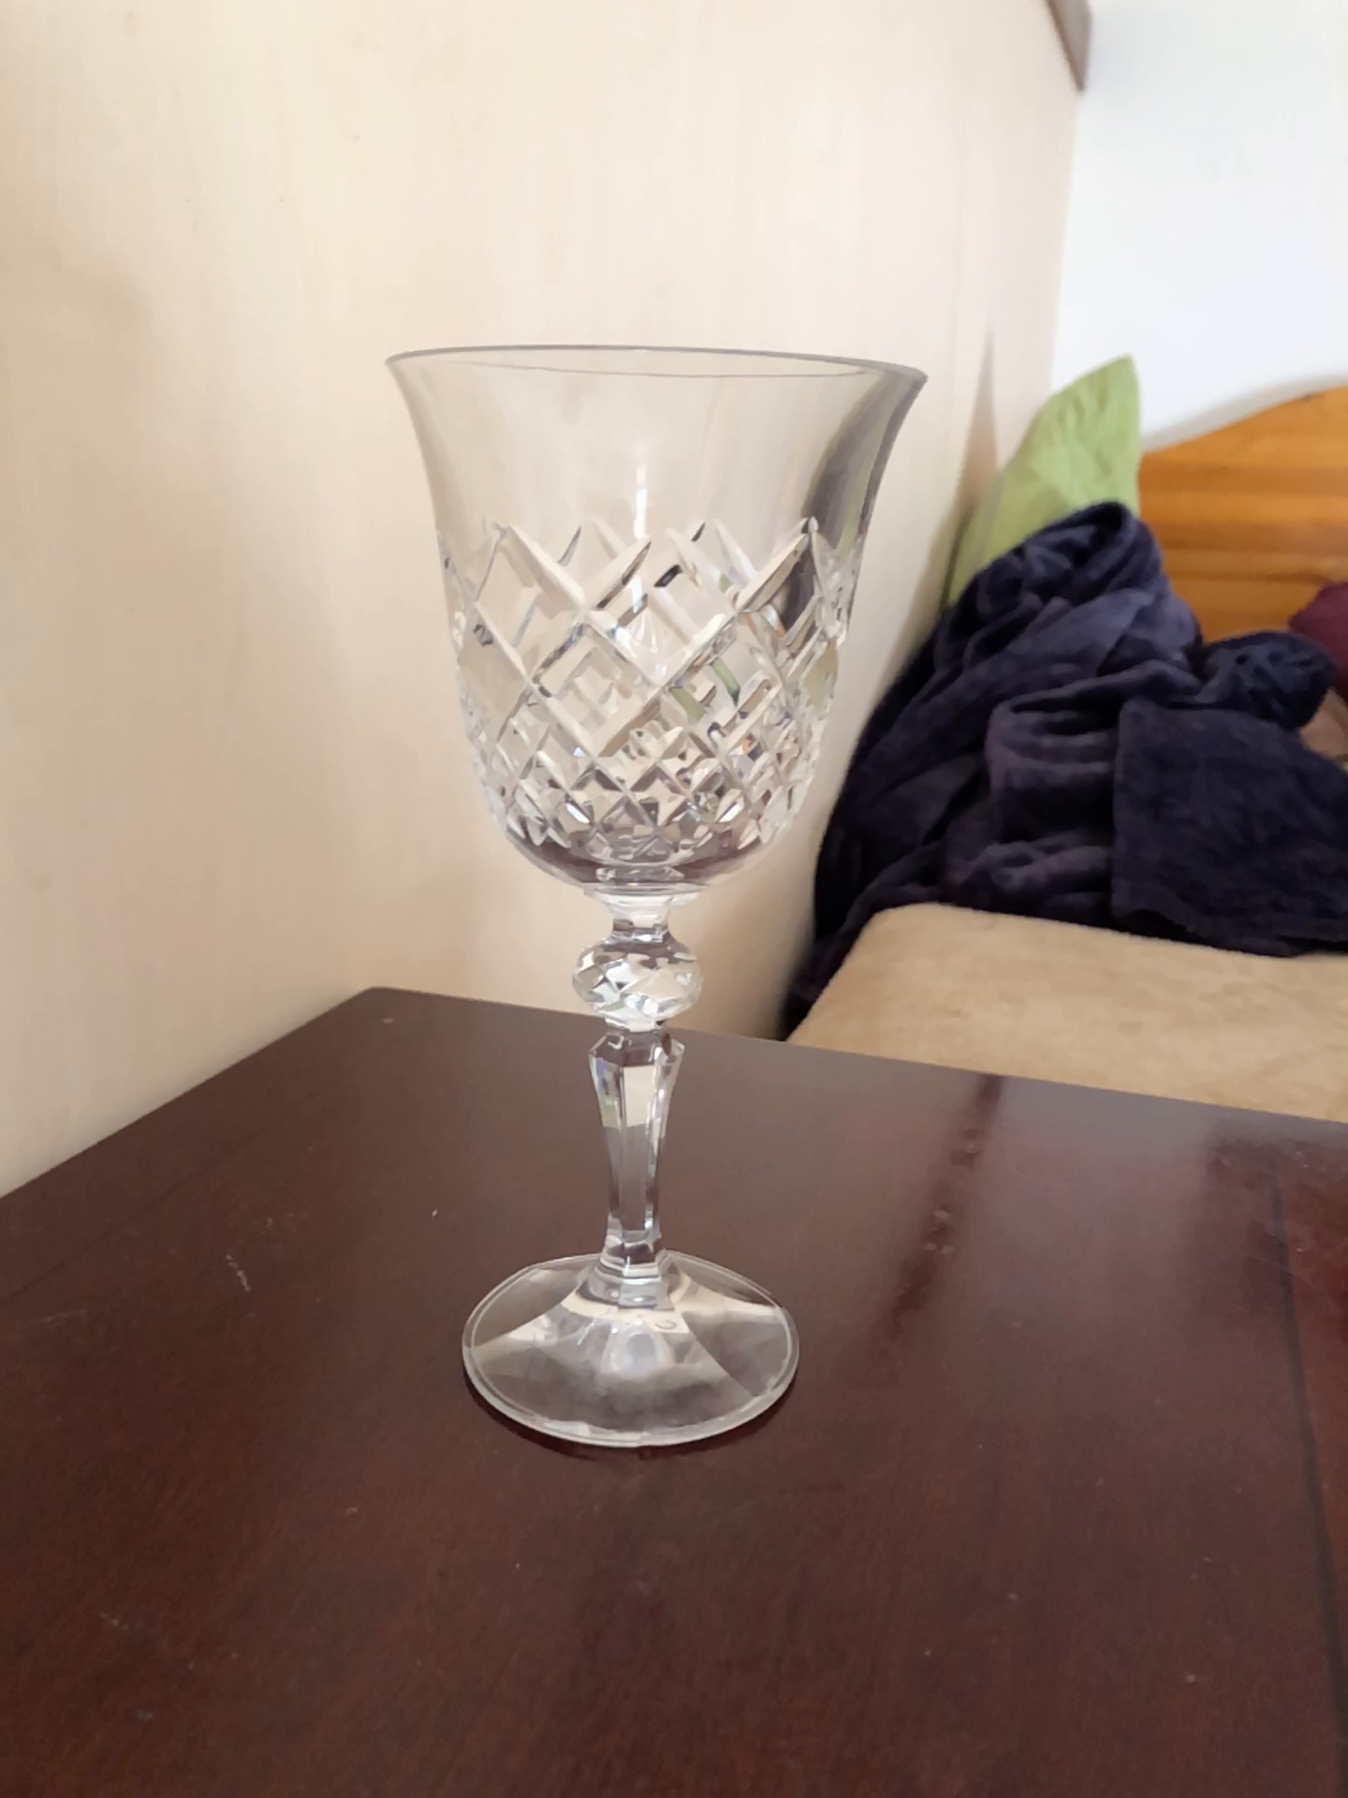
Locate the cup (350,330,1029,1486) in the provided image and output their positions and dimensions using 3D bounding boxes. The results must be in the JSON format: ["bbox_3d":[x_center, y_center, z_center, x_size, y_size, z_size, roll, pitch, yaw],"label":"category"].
[{"bbox_3d":[-0.005,-0.003,0.264,0.091,0.171,0.092,2,14,0],"label":"cup"}]
